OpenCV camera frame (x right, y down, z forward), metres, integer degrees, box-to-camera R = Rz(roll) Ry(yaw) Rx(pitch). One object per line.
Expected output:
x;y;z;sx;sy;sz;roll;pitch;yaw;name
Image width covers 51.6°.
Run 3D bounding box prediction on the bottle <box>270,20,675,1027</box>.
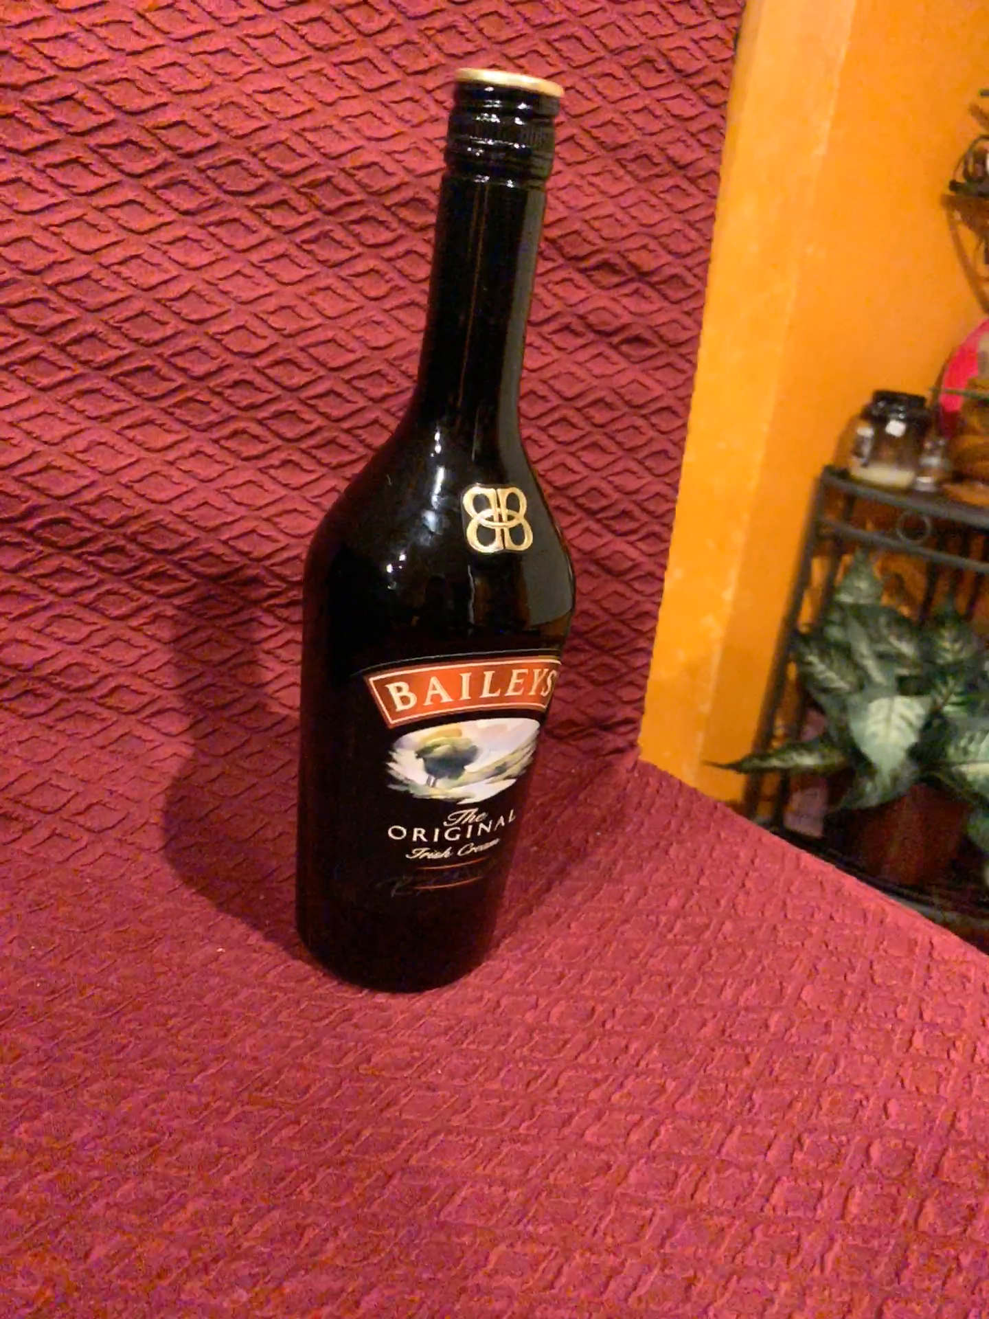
-0.019;-0.029;0.333;0.080;0.289;0.070;-4;24;-27;bottle
